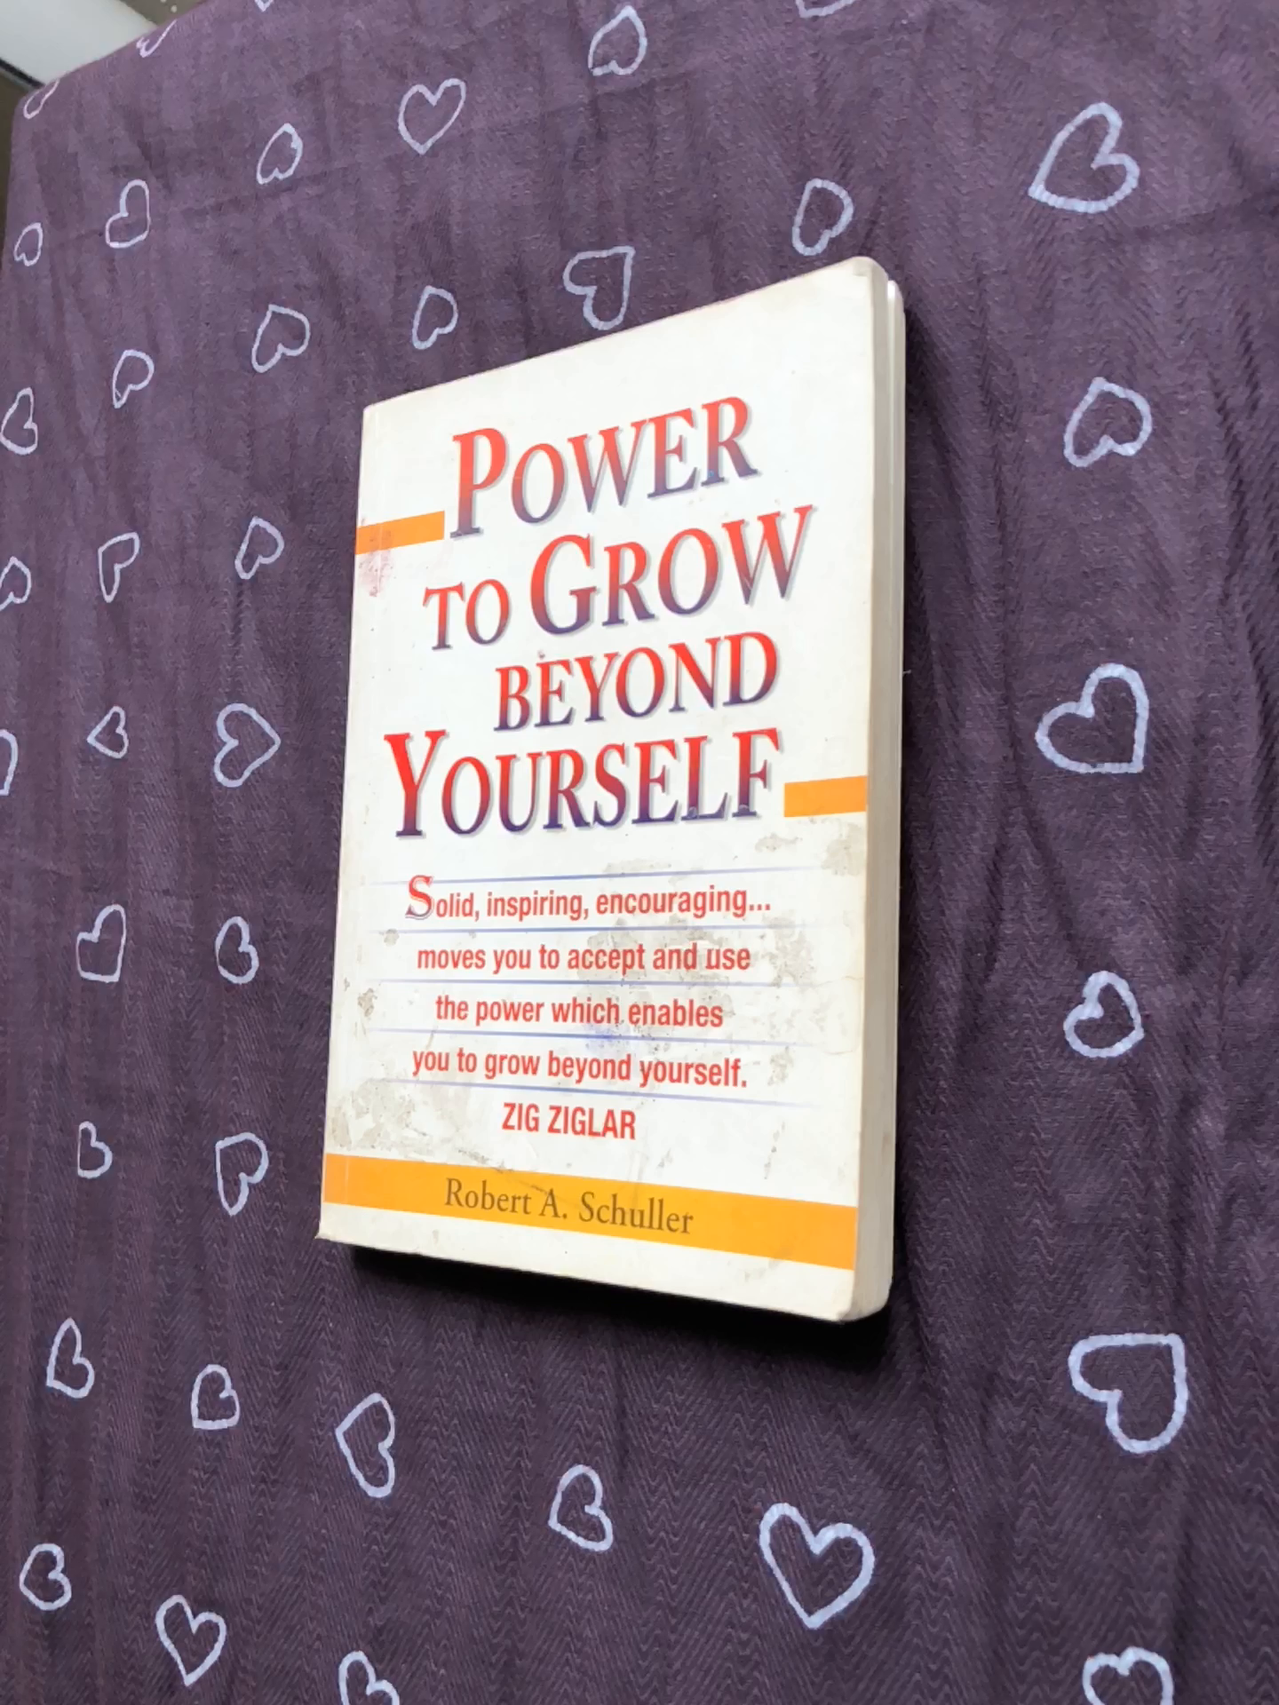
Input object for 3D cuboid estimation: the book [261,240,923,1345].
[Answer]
[{"bbox_3d":[-0.011,-0.010,0.271,0.120,0.030,0.180,-1,83,29],"label":"book"}]
